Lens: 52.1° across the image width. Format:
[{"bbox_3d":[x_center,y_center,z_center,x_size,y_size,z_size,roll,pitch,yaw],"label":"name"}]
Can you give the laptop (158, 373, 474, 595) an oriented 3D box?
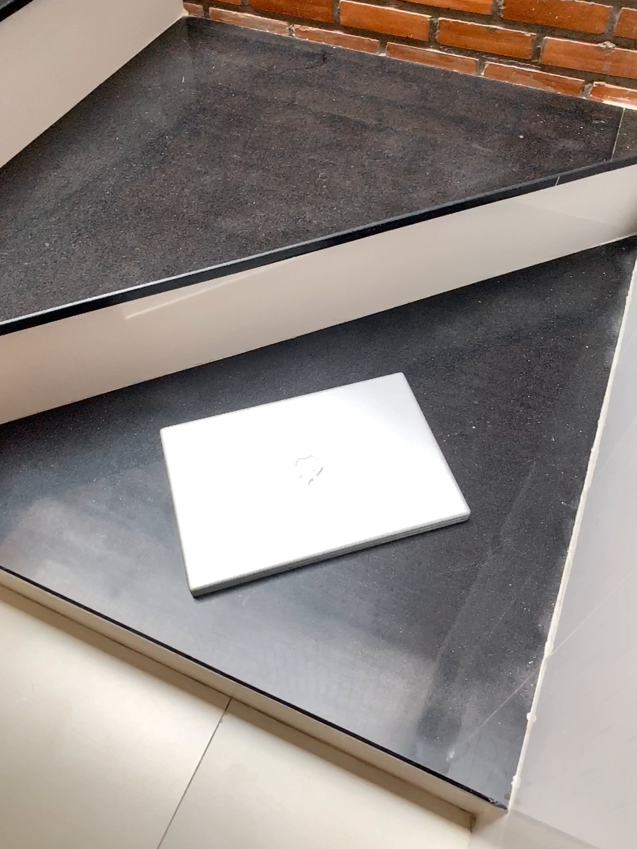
[{"bbox_3d":[-0.014,0.079,1.064,0.440,0.013,0.292,-14,58,-10],"label":"laptop"}]
